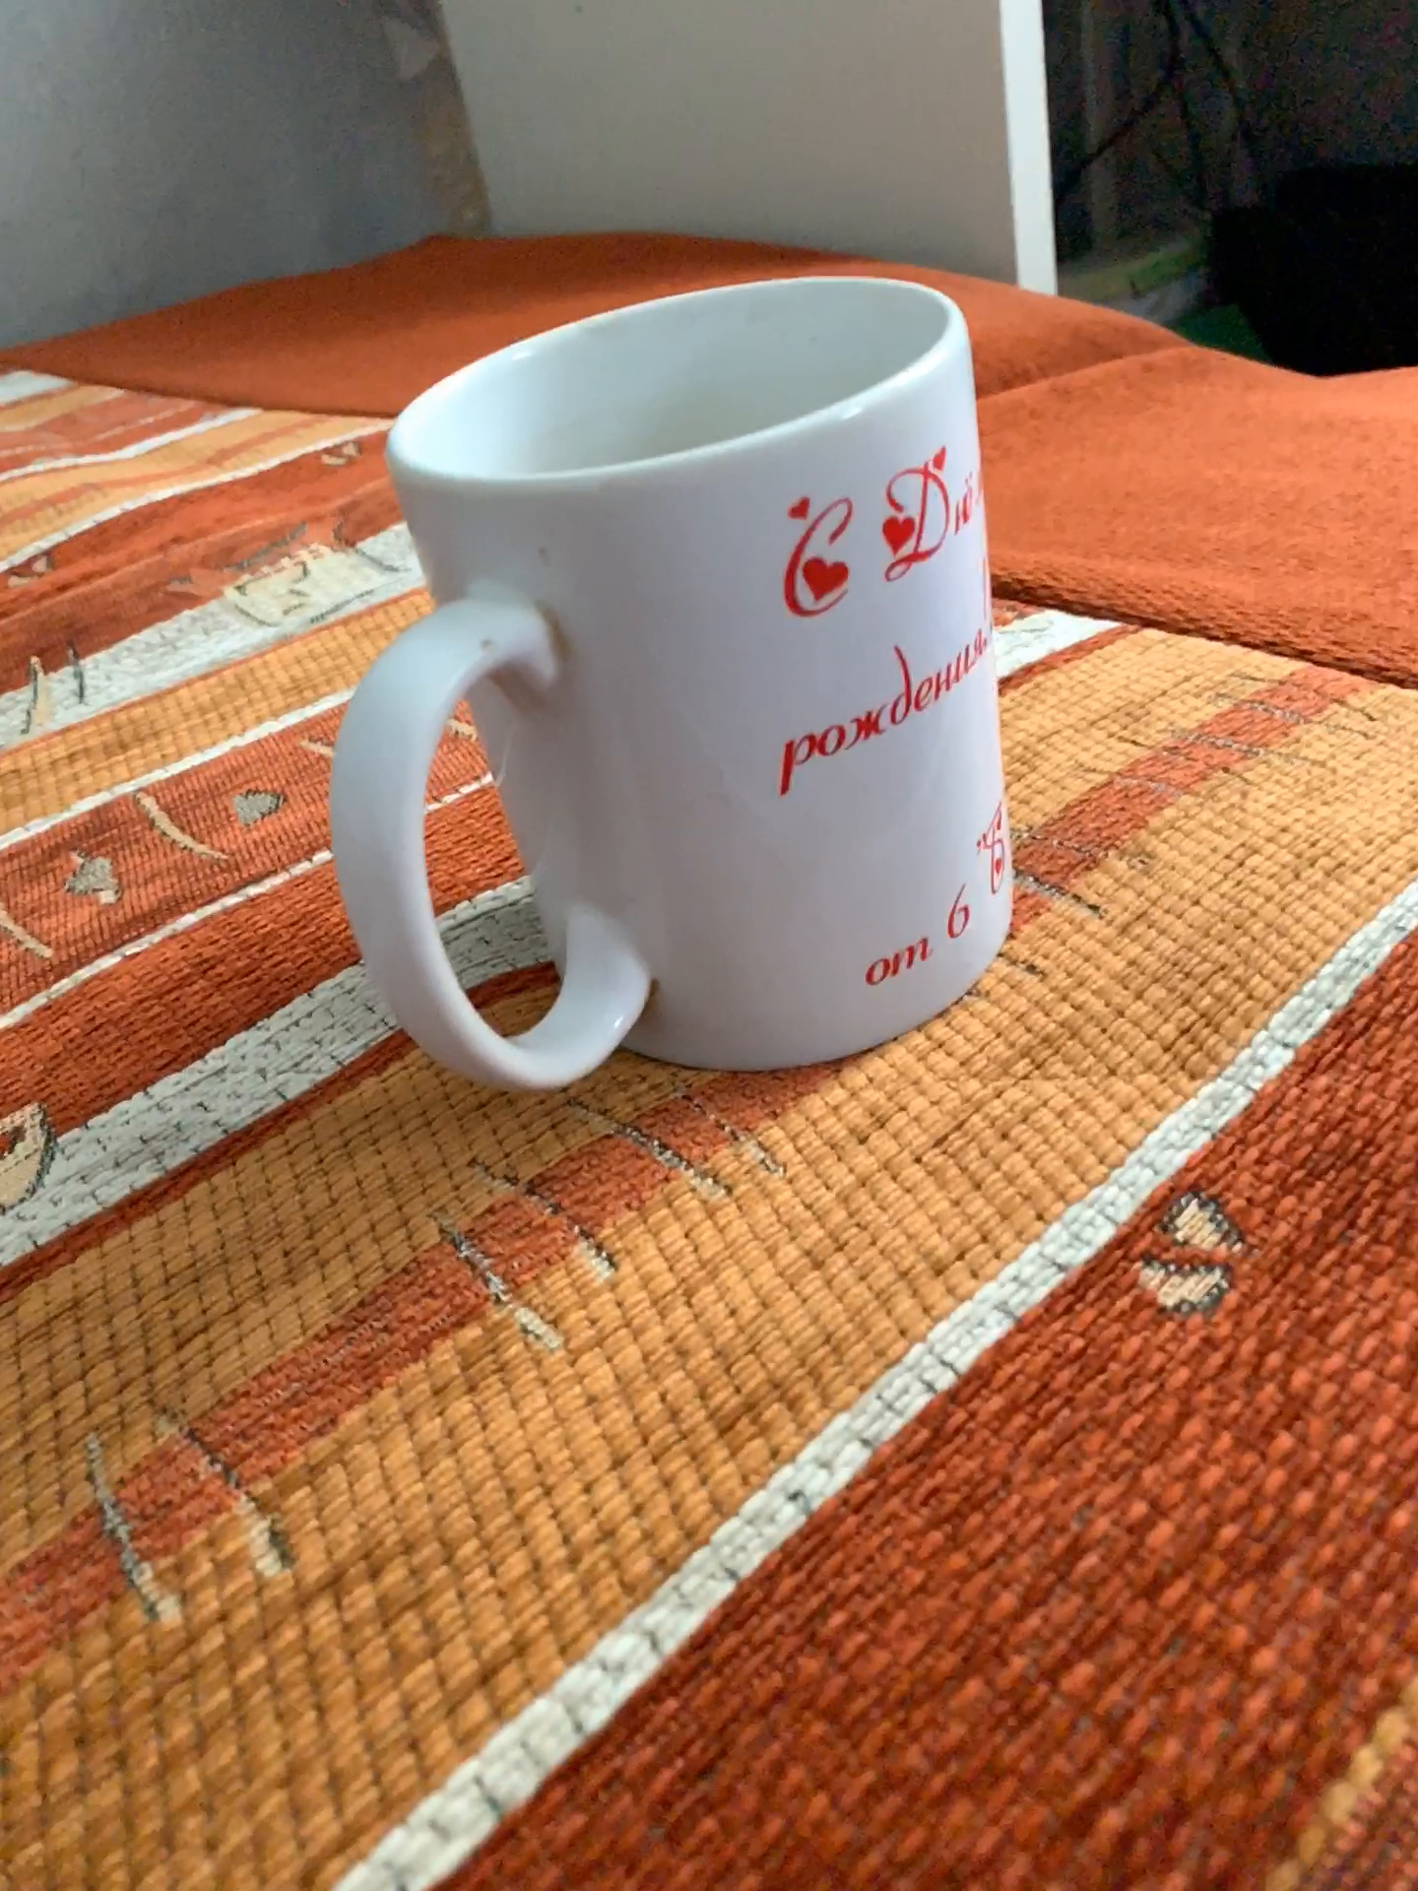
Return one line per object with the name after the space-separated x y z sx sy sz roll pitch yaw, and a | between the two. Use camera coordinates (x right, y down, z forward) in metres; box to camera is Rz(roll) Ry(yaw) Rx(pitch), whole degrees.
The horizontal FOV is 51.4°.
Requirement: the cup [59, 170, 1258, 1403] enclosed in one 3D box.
0.008 -0.029 0.181 0.080 0.089 0.111 14 43 35 | cup
